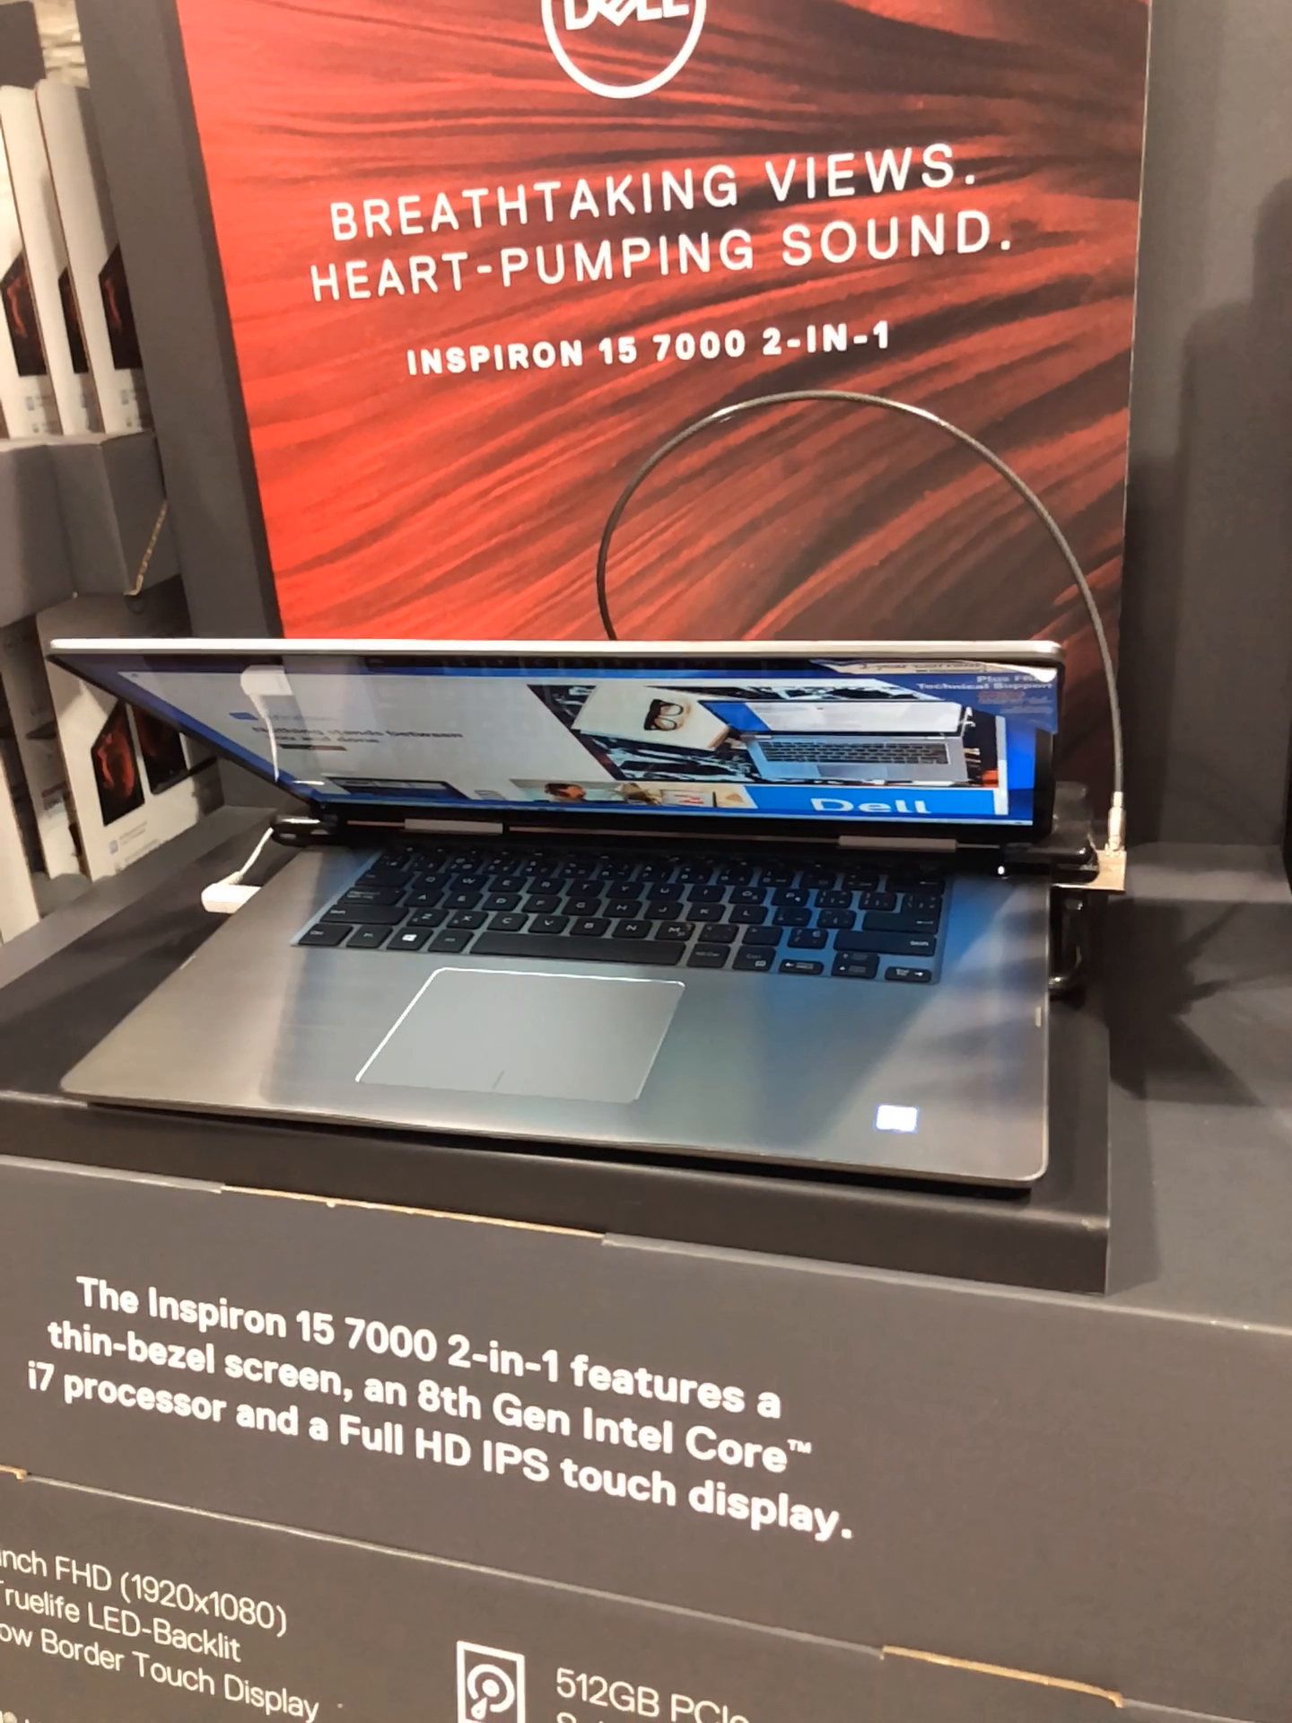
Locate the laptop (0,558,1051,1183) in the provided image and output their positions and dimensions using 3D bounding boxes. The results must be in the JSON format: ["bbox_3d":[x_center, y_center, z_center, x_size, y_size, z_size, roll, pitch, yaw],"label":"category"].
[{"bbox_3d":[-0.029,-0.019,0.556,0.355,0.137,0.212,2,25,16],"label":"laptop"}]
